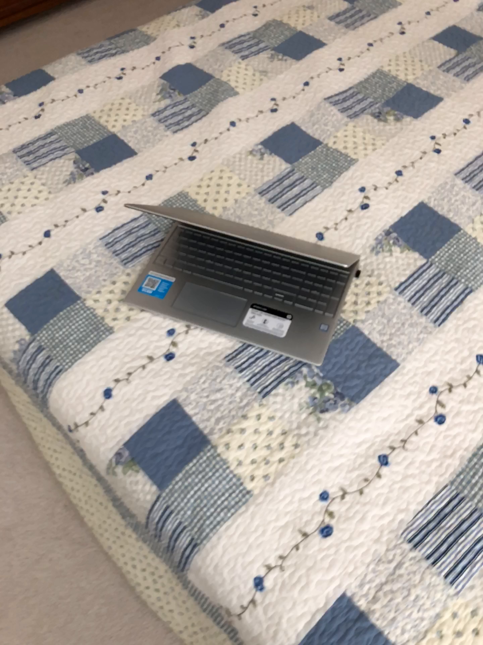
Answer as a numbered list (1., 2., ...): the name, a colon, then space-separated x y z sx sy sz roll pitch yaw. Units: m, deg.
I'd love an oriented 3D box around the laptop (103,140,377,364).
1. laptop: 0.006 -0.122 0.874 0.348 0.158 0.242 17 56 13
